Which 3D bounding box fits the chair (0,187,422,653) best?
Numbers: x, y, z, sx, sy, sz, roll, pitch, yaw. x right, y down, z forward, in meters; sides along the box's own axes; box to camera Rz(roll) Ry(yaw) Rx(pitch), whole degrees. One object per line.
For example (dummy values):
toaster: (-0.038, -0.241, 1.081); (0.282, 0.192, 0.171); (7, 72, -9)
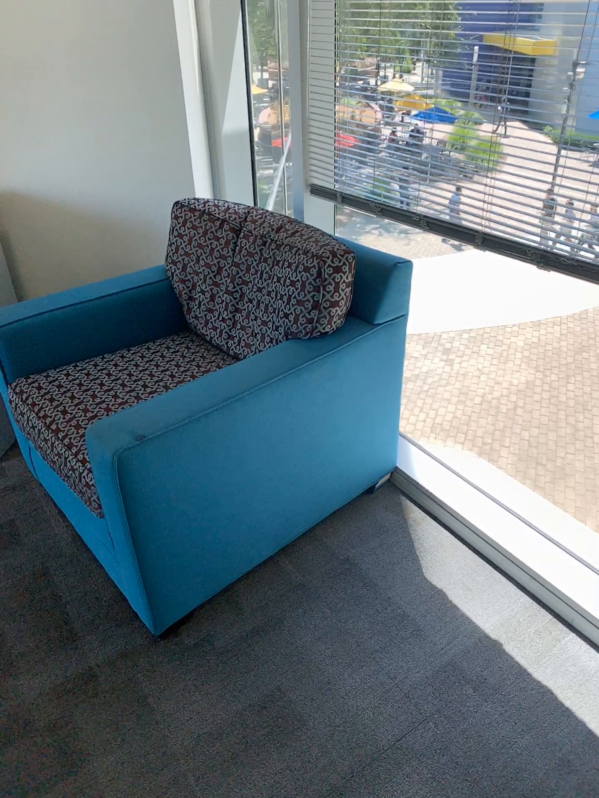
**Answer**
chair: (-0.322, -0.065, 1.843); (0.911, 0.805, 0.935); (-26, 39, -32)
